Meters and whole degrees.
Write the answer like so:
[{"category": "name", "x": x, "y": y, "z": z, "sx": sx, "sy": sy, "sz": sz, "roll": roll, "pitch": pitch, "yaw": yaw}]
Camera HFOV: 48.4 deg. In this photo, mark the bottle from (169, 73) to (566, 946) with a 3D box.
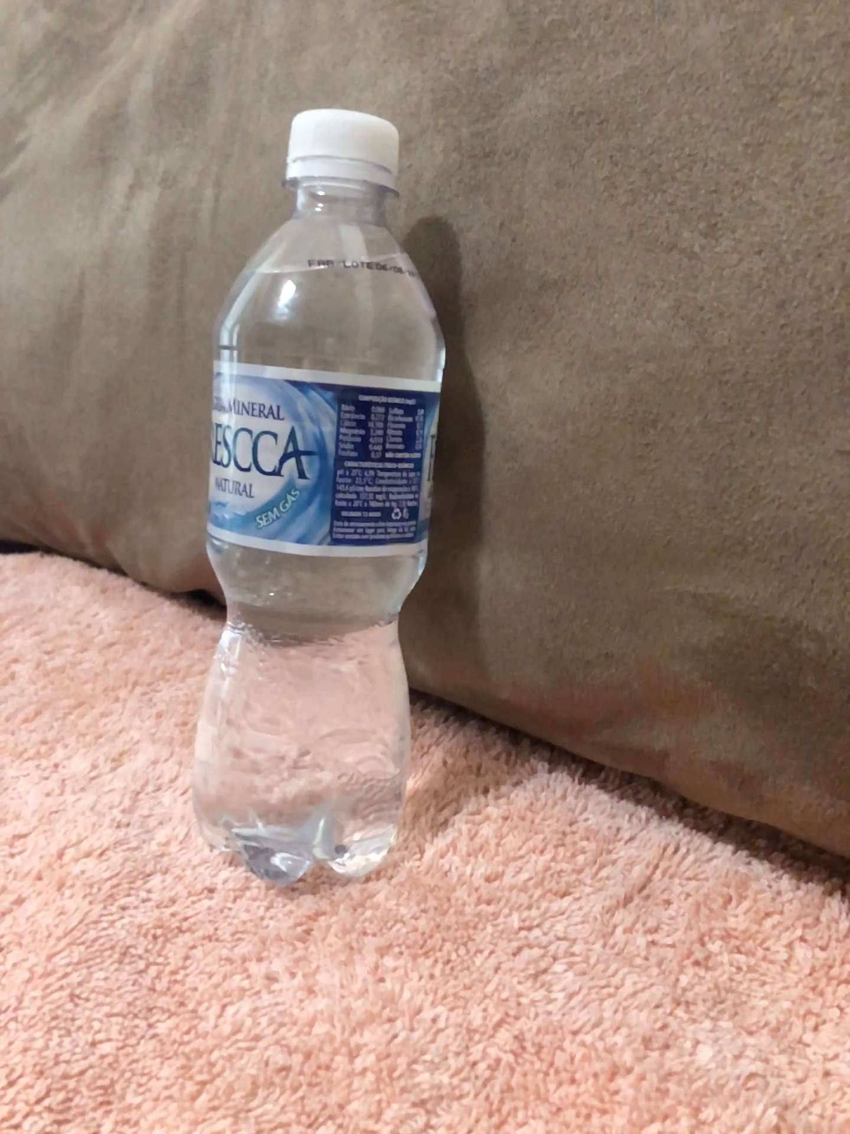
[{"category": "bottle", "x": -0.021, "y": -0.015, "z": 0.277, "sx": 0.080, "sy": 0.209, "sz": 0.070, "roll": -6, "pitch": 14, "yaw": -40}]
